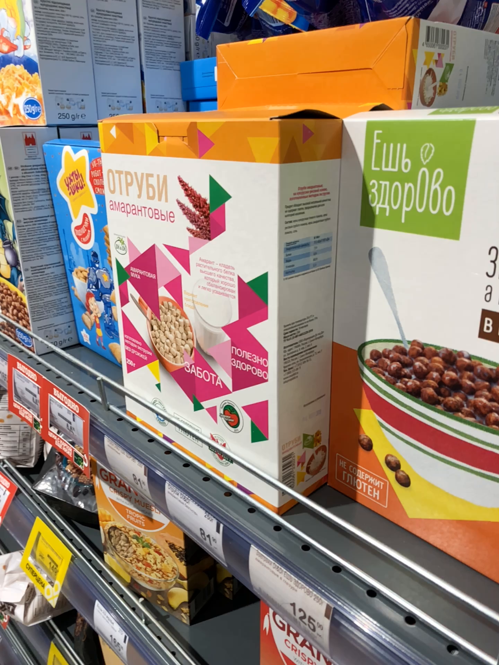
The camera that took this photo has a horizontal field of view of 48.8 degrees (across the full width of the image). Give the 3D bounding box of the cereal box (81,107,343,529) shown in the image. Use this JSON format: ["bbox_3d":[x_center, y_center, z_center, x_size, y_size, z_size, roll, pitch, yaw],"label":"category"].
[{"bbox_3d":[-0.034,-0.024,0.407,0.060,0.259,0.201,-19,27,-39],"label":"cereal box"}]
